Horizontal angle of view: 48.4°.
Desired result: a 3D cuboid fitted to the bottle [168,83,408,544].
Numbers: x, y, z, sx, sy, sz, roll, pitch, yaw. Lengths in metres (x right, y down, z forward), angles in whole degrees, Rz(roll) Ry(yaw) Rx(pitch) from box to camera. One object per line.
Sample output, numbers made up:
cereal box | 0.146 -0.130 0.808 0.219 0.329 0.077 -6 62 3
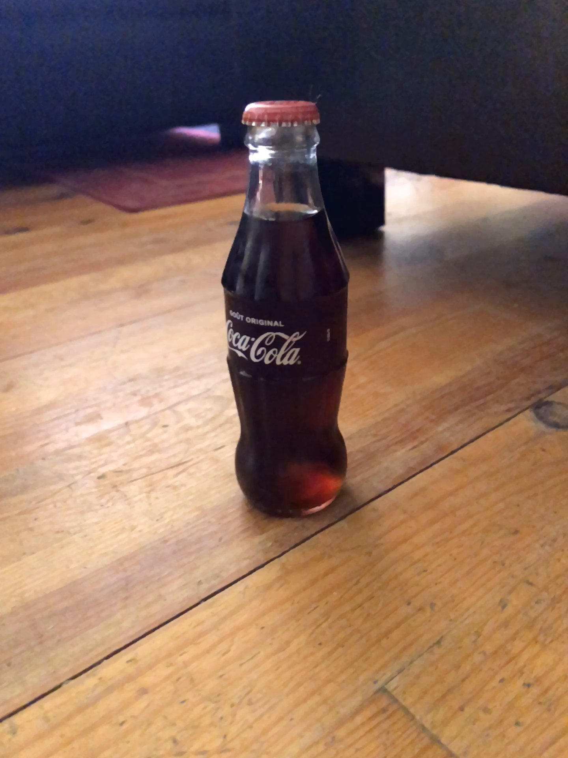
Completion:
bottle | 0.005 -0.026 0.260 0.060 0.169 0.060 -2 27 1
